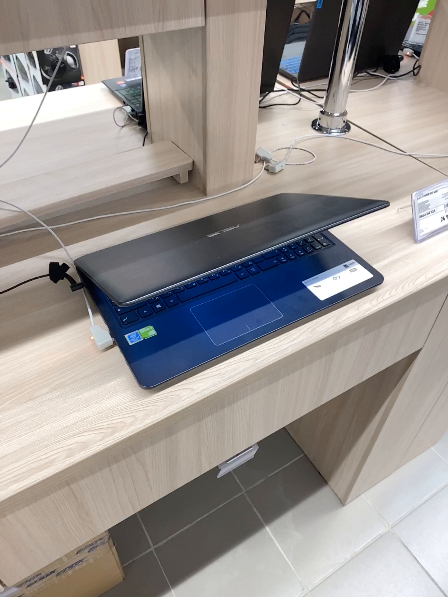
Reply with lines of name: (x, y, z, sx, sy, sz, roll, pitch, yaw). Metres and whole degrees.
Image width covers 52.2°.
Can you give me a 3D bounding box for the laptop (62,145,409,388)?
laptop: (0.016, -0.073, 0.627, 0.386, 0.098, 0.236, -21, 50, -23)
